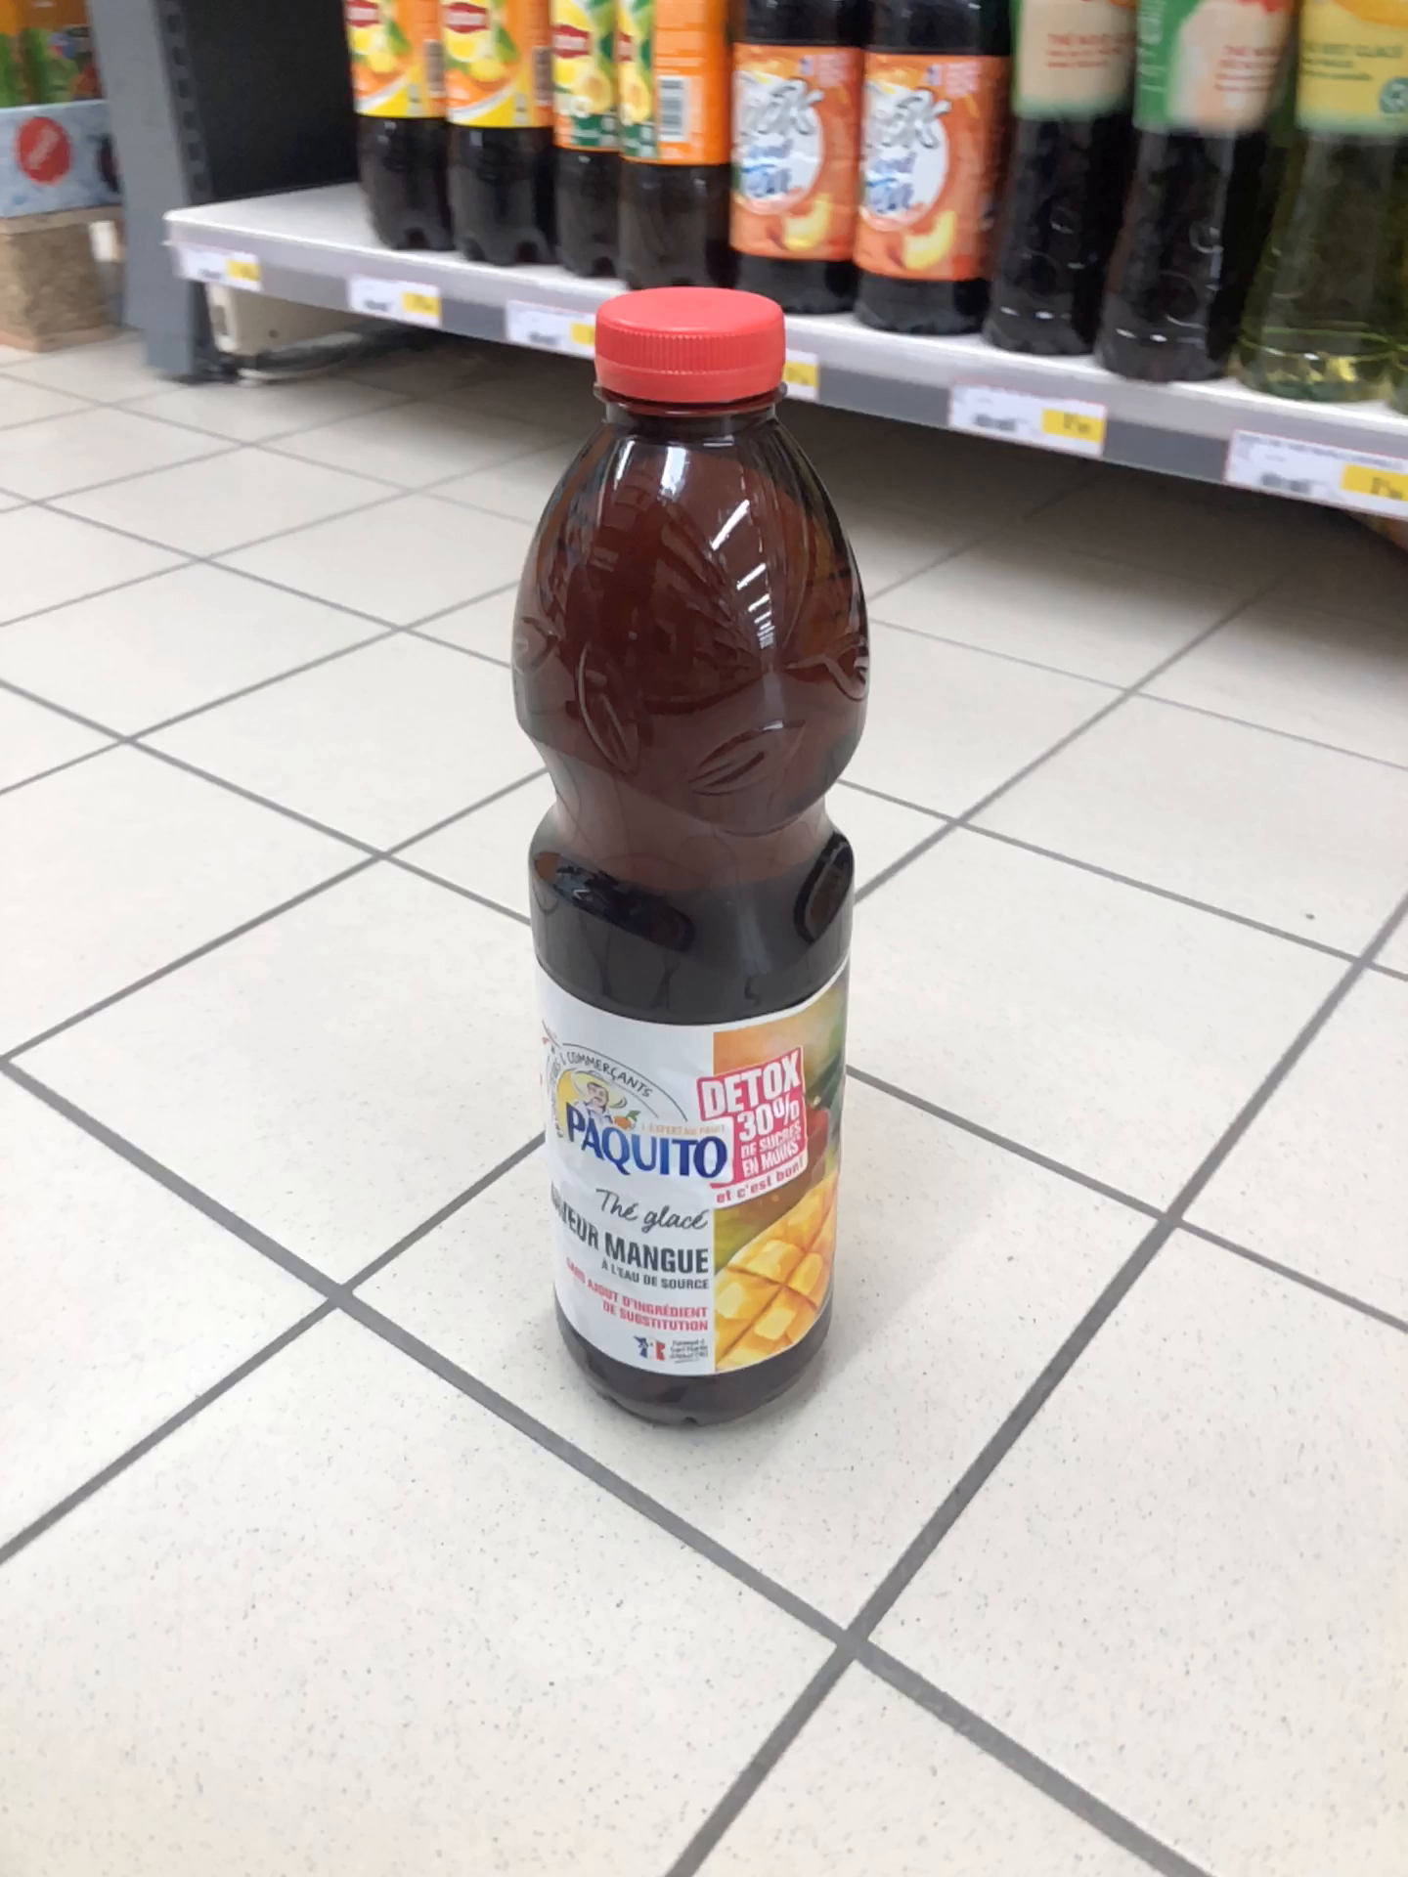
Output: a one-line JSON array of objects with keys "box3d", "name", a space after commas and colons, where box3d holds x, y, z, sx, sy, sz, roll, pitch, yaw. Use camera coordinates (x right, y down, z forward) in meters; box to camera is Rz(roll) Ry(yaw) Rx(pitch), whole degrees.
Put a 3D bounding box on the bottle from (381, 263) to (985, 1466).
[{"box3d": [-0.001, -0.009, 0.402, 0.100, 0.288, 0.091, 12, 34, 18], "name": "bottle"}]
